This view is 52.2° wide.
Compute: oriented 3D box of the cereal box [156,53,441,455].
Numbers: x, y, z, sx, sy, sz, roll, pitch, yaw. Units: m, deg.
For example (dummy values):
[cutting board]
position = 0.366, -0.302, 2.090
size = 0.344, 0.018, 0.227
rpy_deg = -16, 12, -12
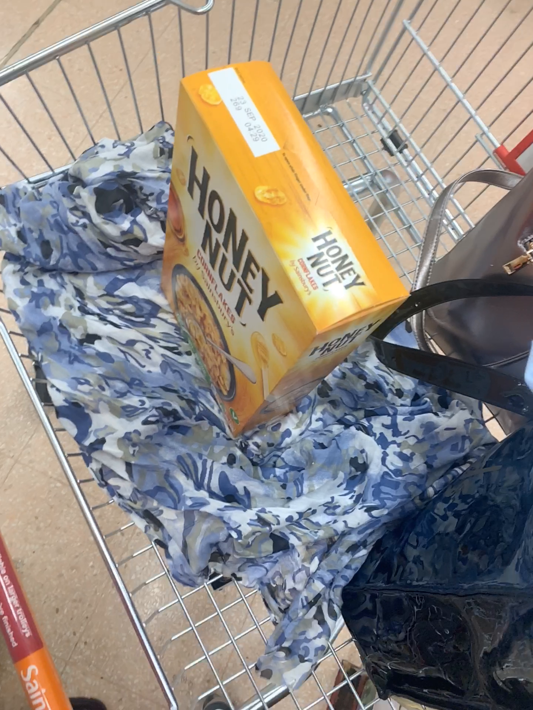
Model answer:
[cereal box]
position = -0.010, -0.052, 0.474
size = 0.080, 0.299, 0.210
rpy_deg = -23, 76, -21
